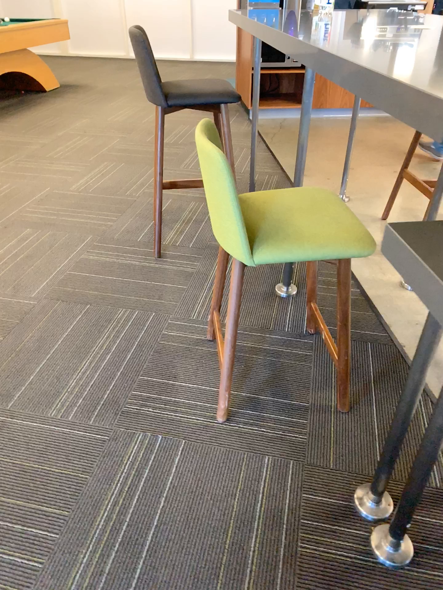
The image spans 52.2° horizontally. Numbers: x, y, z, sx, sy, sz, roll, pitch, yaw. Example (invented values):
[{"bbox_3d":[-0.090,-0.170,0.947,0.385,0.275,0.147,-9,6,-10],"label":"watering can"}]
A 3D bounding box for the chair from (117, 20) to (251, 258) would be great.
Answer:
[{"bbox_3d":[-0.173,-0.839,2.352,0.500,0.944,0.855,-6,35,-4],"label":"chair"}]

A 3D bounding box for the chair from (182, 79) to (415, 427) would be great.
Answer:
[{"bbox_3d":[0.163,-0.135,1.422,0.480,0.874,0.594,-5,35,-2],"label":"chair"}]
